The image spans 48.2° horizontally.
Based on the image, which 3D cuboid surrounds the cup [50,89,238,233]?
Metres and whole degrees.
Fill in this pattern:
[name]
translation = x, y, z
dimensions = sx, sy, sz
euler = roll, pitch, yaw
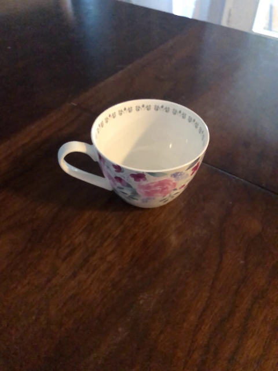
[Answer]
[cup]
translation = -0.004, -0.034, 0.332
dimensions = 0.160, 0.070, 0.120
euler = -10, 47, -11
